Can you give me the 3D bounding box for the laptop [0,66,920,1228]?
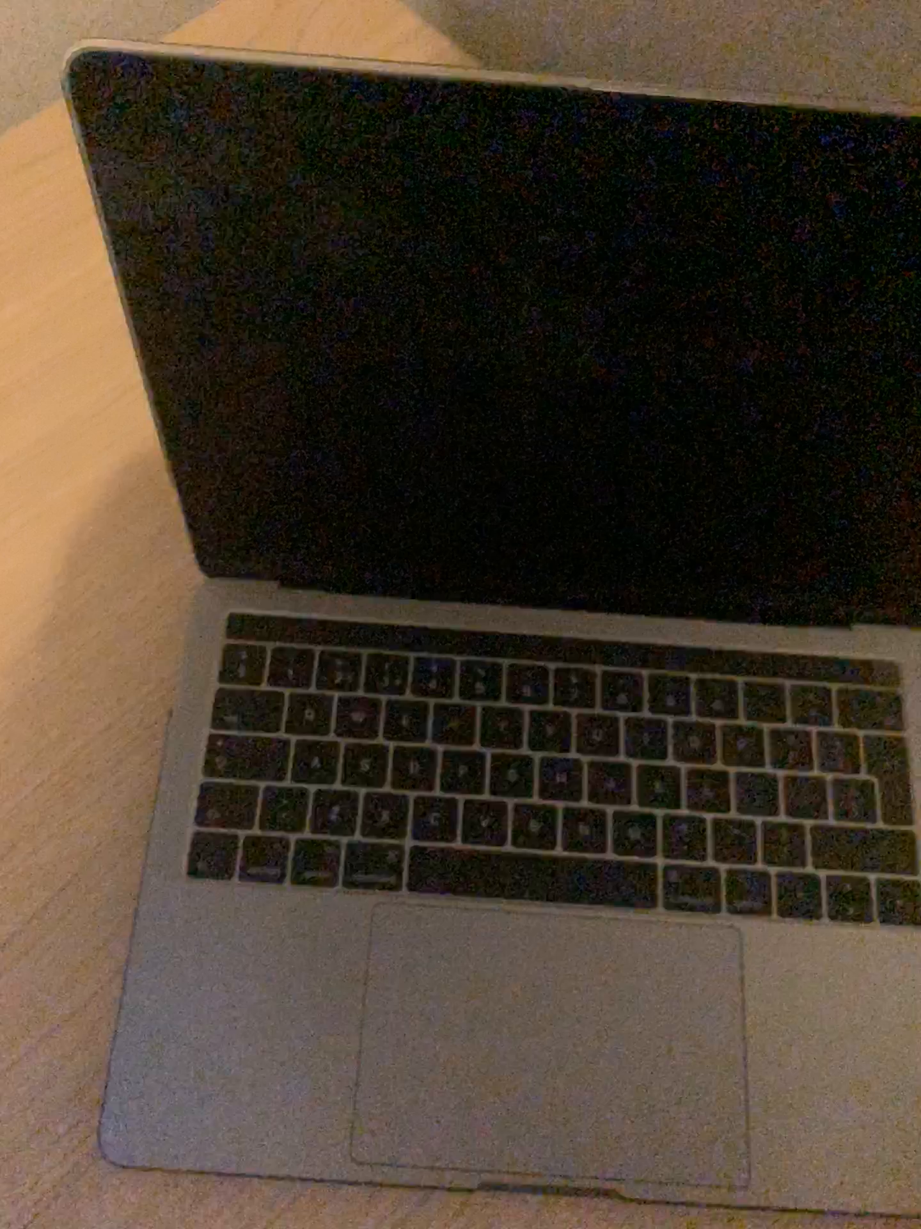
[{"bbox_3d":[0.042,0.035,0.275,0.294,0.198,0.257,4,68,0],"label":"laptop"}]
